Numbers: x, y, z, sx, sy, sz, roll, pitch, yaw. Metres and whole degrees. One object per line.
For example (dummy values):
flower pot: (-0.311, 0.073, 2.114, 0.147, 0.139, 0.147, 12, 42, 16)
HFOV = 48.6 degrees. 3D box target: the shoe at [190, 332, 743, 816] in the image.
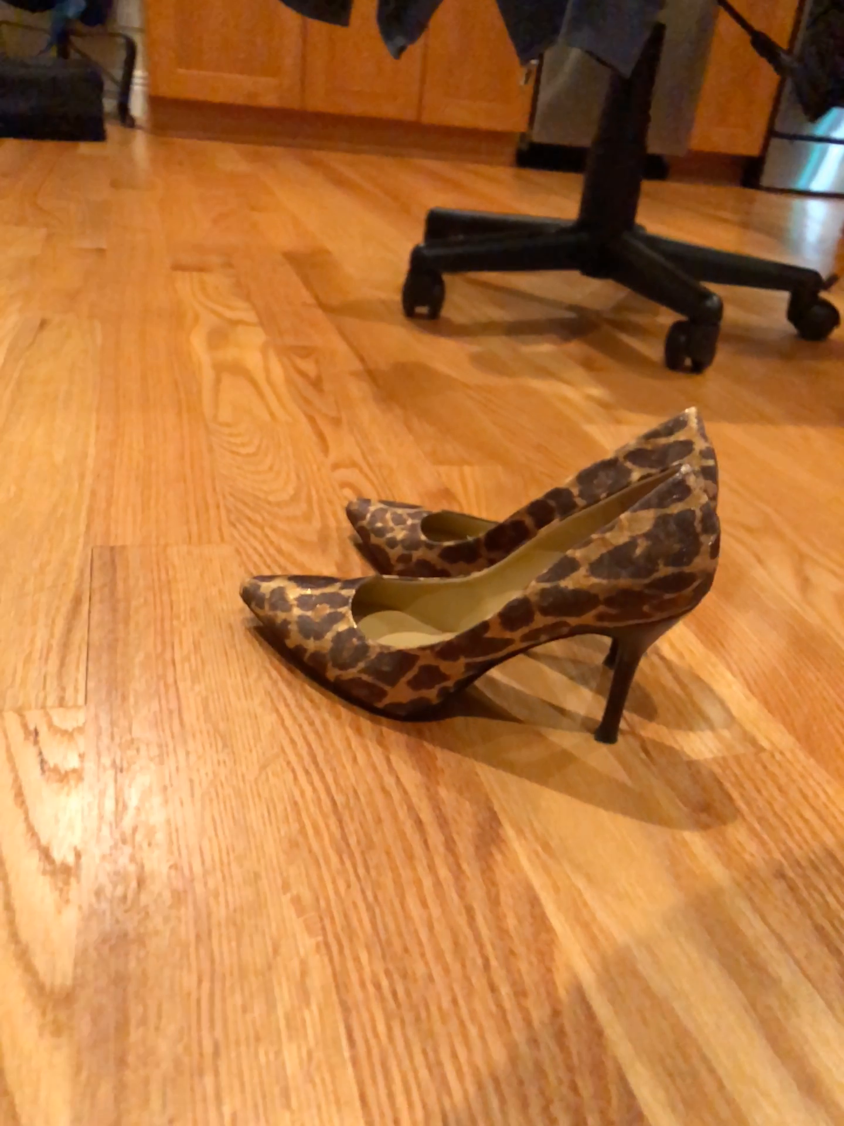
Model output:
shoe: (0.011, -0.005, 0.425, 0.218, 0.144, 0.084, 17, 29, 18)

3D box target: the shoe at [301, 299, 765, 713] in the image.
shoe: (0.046, -0.043, 0.507, 0.219, 0.144, 0.084, 24, 32, 30)
